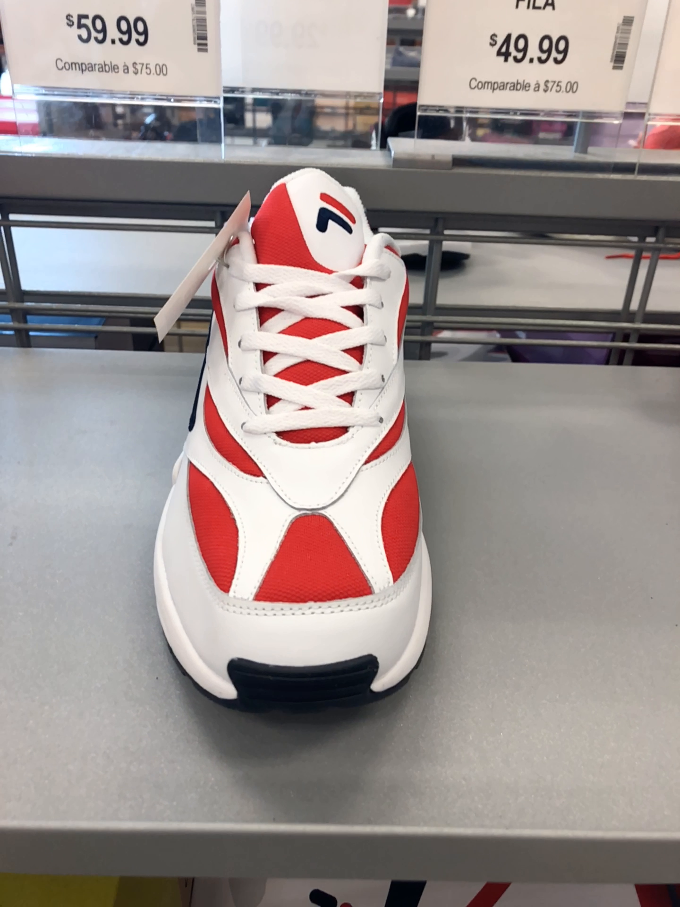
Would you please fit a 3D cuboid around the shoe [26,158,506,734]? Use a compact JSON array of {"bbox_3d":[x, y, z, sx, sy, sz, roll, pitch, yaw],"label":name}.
[{"bbox_3d":[-0.022,-0.033,0.337,0.120,0.129,0.272,1,33,-2],"label":"shoe"}]
